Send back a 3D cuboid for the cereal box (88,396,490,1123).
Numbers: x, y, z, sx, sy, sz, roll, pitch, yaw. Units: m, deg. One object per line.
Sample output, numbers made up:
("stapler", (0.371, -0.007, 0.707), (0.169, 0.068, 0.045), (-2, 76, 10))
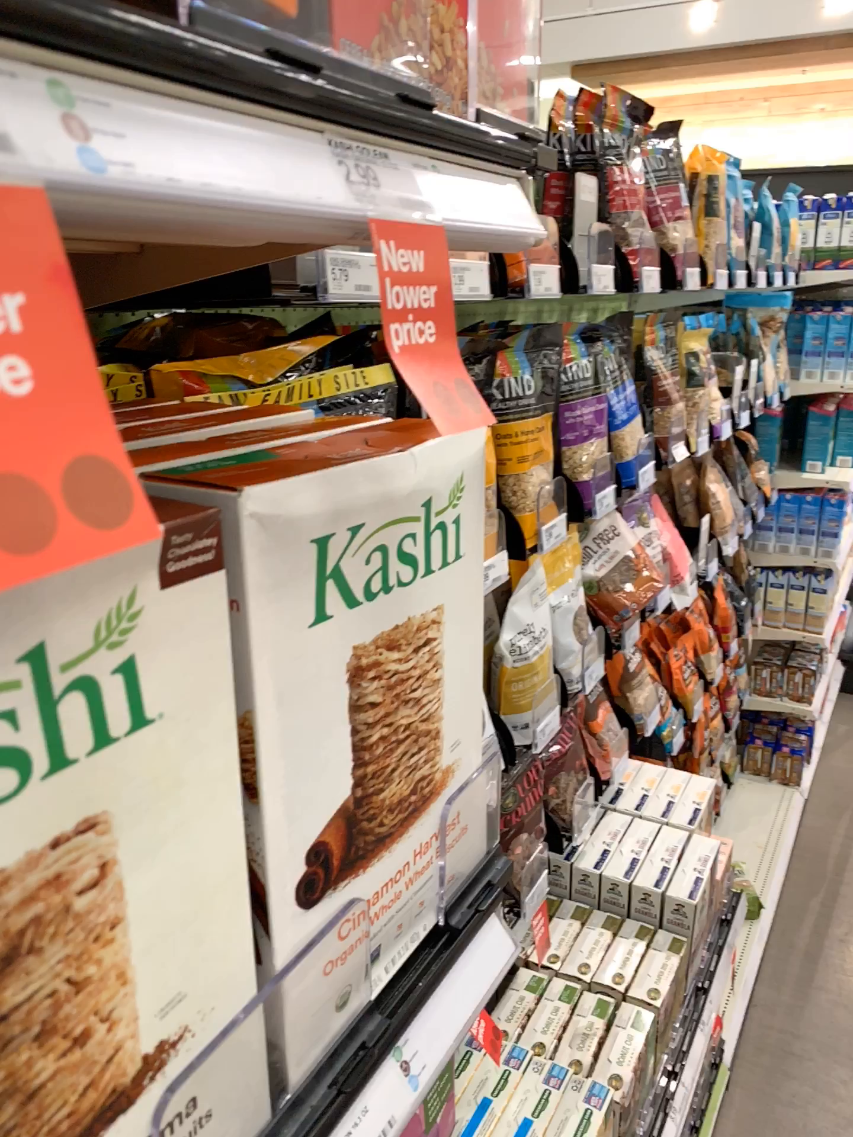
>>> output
("cereal box", (-0.043, 0.069, 0.422), (0.070, 0.279, 0.190), (8, 19, 29))
